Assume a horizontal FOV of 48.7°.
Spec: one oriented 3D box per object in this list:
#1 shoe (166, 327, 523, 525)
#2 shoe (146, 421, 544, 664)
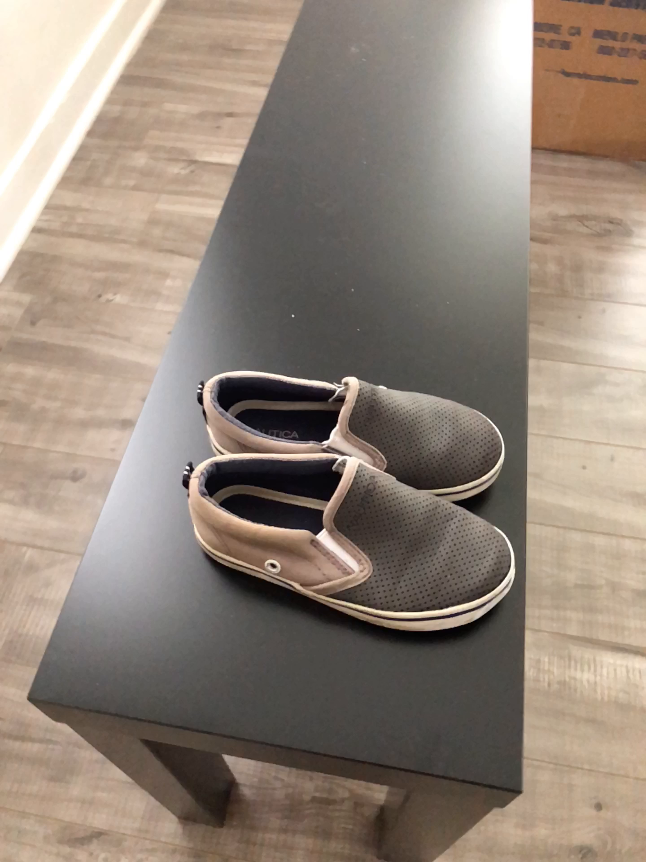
[{"bbox_3d":[0.014,-0.003,0.429,0.190,0.070,0.078,5,55,3],"label":"shoe"},{"bbox_3d":[0.014,0.060,0.387,0.190,0.070,0.078,9,55,6],"label":"shoe"}]
